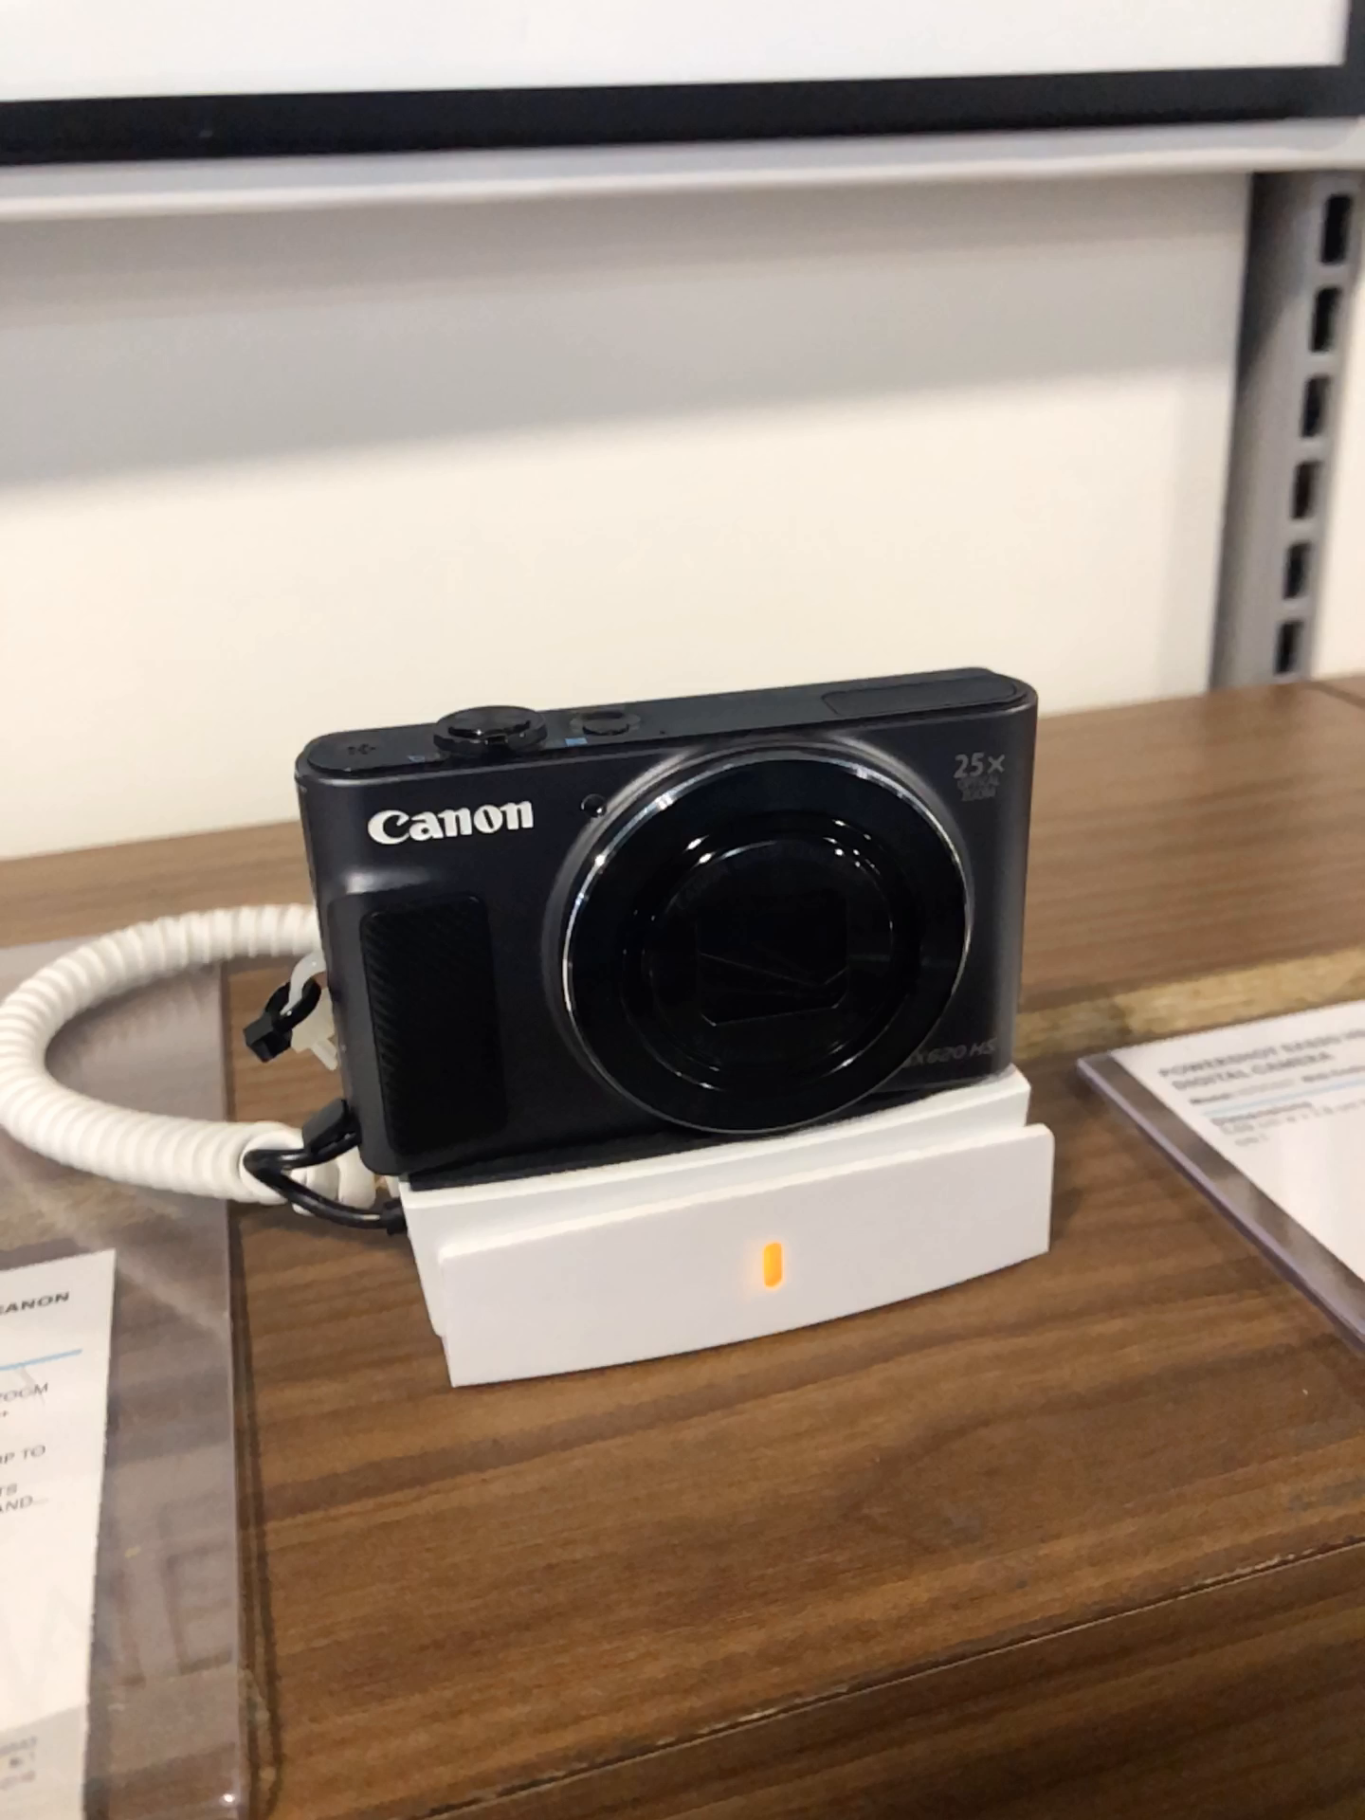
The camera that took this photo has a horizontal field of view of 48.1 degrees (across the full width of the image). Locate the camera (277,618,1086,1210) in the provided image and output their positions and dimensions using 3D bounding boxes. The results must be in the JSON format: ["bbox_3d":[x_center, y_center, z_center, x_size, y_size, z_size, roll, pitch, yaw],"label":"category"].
[{"bbox_3d":[0.001,-0.002,0.208,0.100,0.060,0.030,-8,23,-13],"label":"camera"}]
